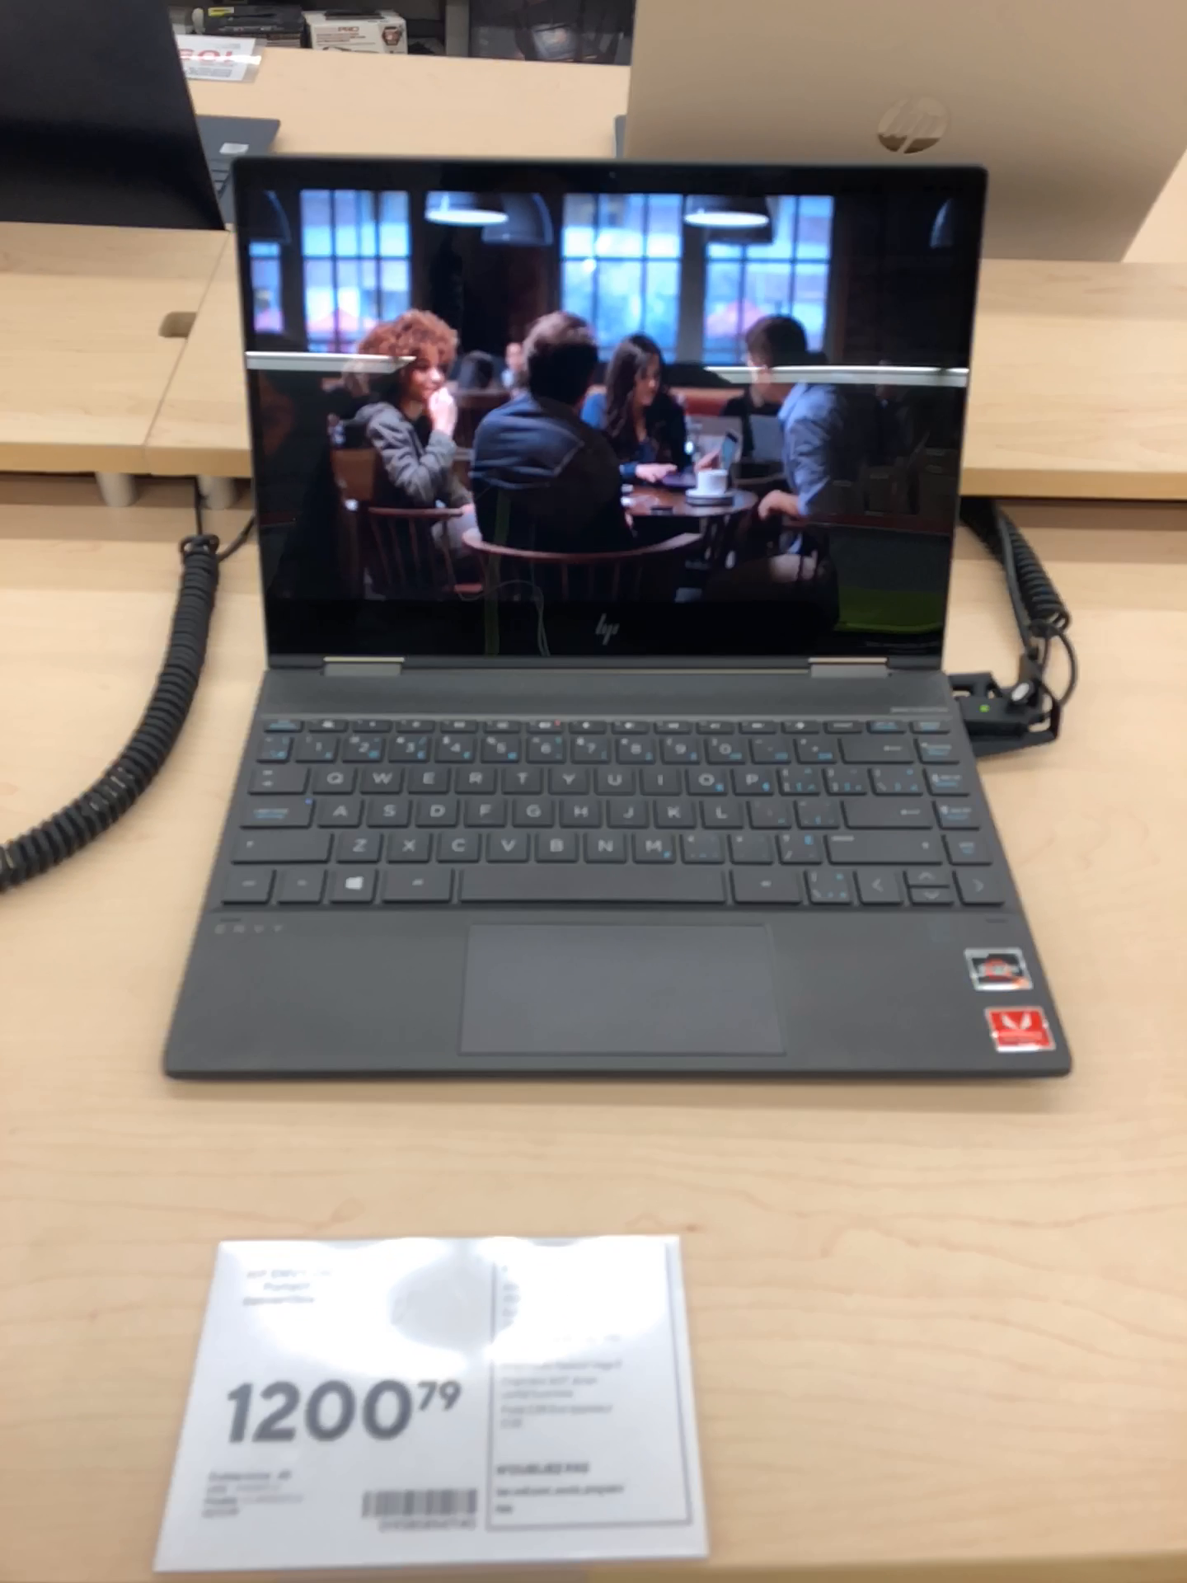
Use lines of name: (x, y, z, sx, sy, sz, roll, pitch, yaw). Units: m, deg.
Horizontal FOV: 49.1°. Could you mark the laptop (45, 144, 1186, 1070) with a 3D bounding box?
laptop: (0.012, -0.077, 0.465, 0.294, 0.182, 0.289, 0, 45, -4)
